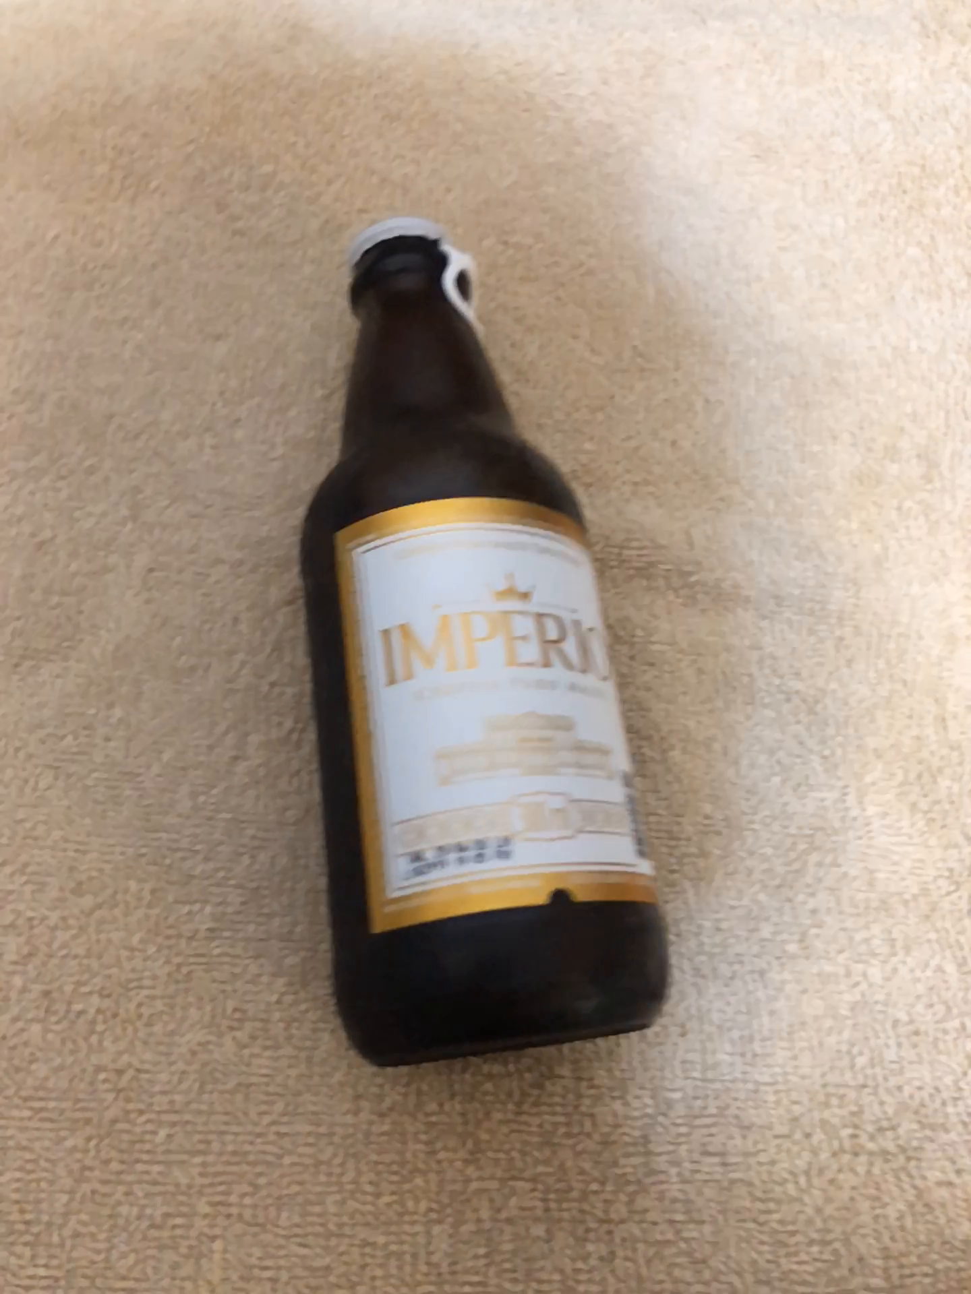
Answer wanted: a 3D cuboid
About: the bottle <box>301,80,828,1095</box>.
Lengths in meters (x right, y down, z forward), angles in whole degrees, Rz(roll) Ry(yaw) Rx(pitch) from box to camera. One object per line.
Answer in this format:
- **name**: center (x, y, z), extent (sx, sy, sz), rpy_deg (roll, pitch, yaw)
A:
- **bottle**: center (0.002, -0.018, 0.216), extent (0.060, 0.060, 0.190), rpy_deg (-4, 67, -12)
